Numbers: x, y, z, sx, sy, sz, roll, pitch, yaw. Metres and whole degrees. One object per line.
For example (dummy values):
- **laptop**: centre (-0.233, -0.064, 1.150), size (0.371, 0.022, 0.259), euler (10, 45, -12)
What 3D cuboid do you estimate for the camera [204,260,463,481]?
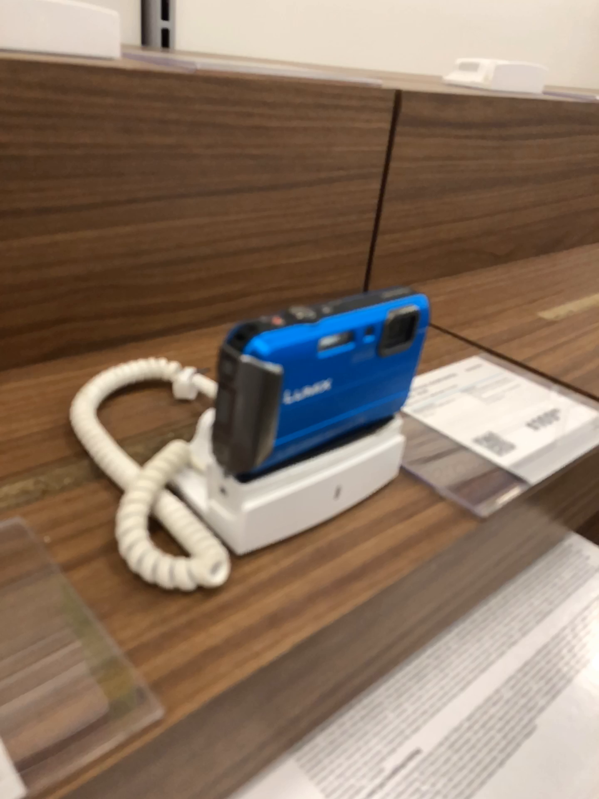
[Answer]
- **camera**: centre (0.016, -0.016, 0.254), size (0.110, 0.060, 0.020), euler (-19, 40, -39)
